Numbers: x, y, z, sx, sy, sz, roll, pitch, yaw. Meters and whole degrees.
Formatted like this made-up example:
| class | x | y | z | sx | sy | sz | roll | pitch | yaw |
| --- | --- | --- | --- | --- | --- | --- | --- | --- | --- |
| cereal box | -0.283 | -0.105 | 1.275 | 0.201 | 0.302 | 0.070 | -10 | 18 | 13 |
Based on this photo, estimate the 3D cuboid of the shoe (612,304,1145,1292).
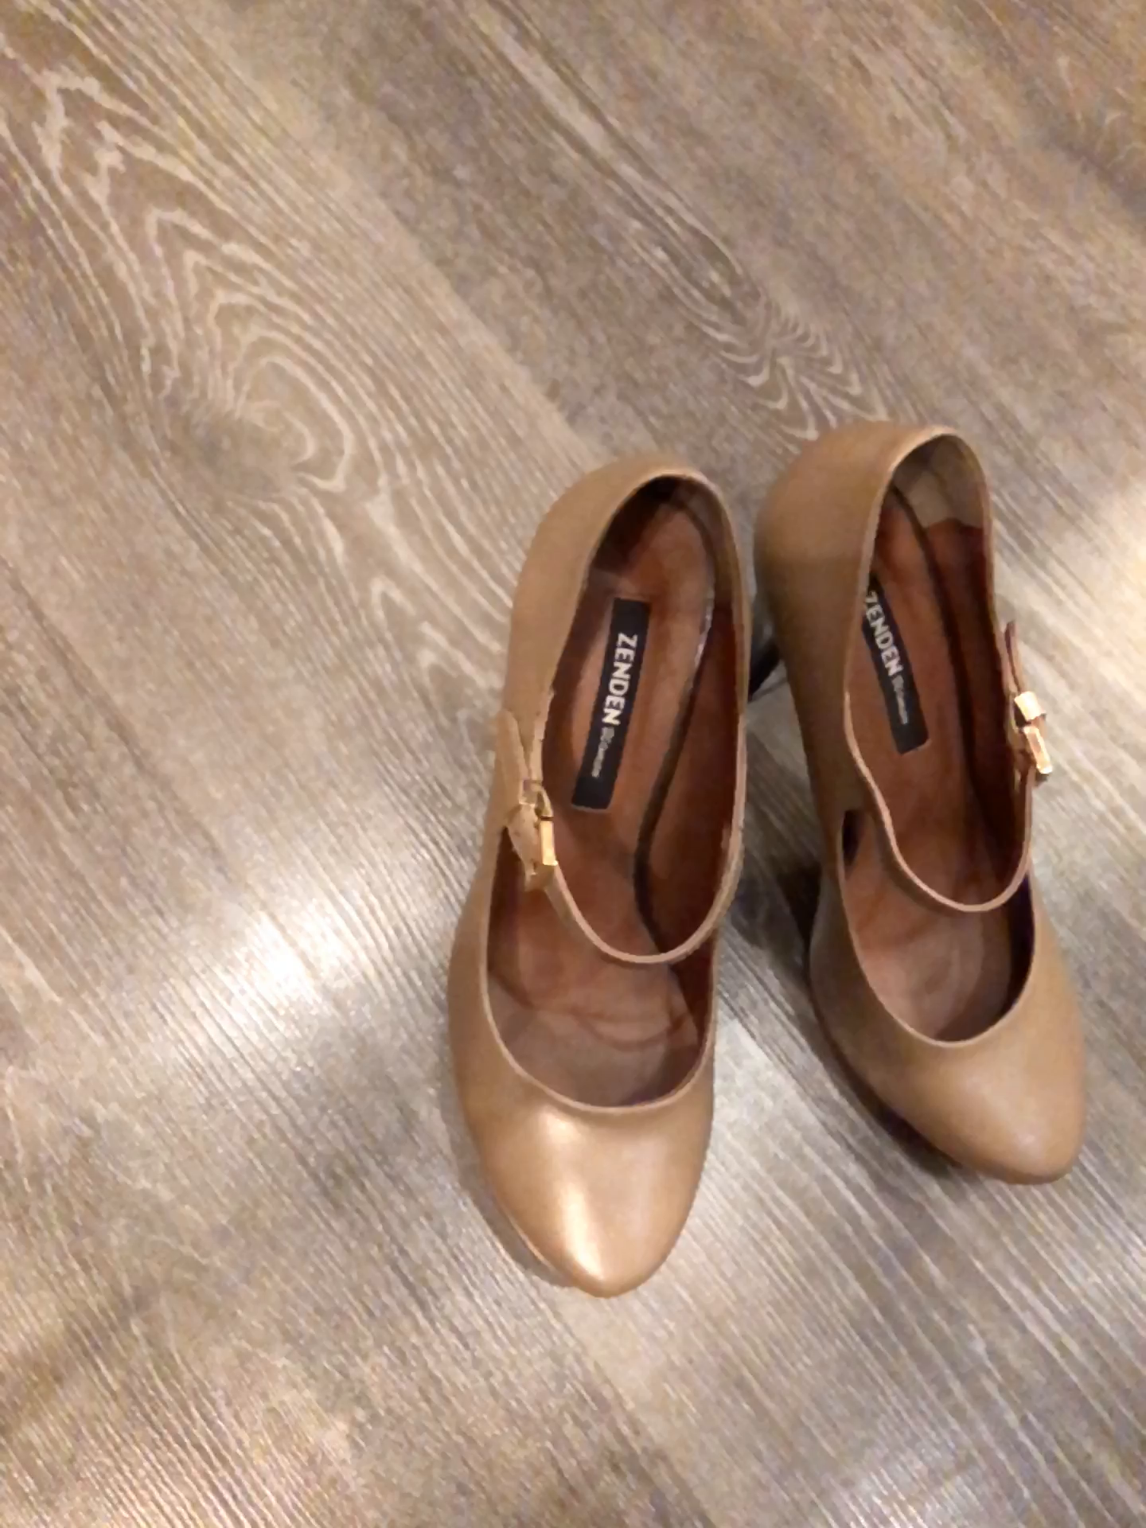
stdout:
| class | x | y | z | sx | sy | sz | roll | pitch | yaw |
| --- | --- | --- | --- | --- | --- | --- | --- | --- | --- |
| shoe | 0.106 | 0.018 | 0.360 | 0.090 | 0.160 | 0.210 | -21 | 77 | -13 |

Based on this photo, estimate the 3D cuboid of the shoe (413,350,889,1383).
| class | x | y | z | sx | sy | sz | roll | pitch | yaw |
| --- | --- | --- | --- | --- | --- | --- | --- | --- | --- |
| shoe | 0.004 | 0.031 | 0.343 | 0.090 | 0.150 | 0.220 | 1 | 73 | -7 |
